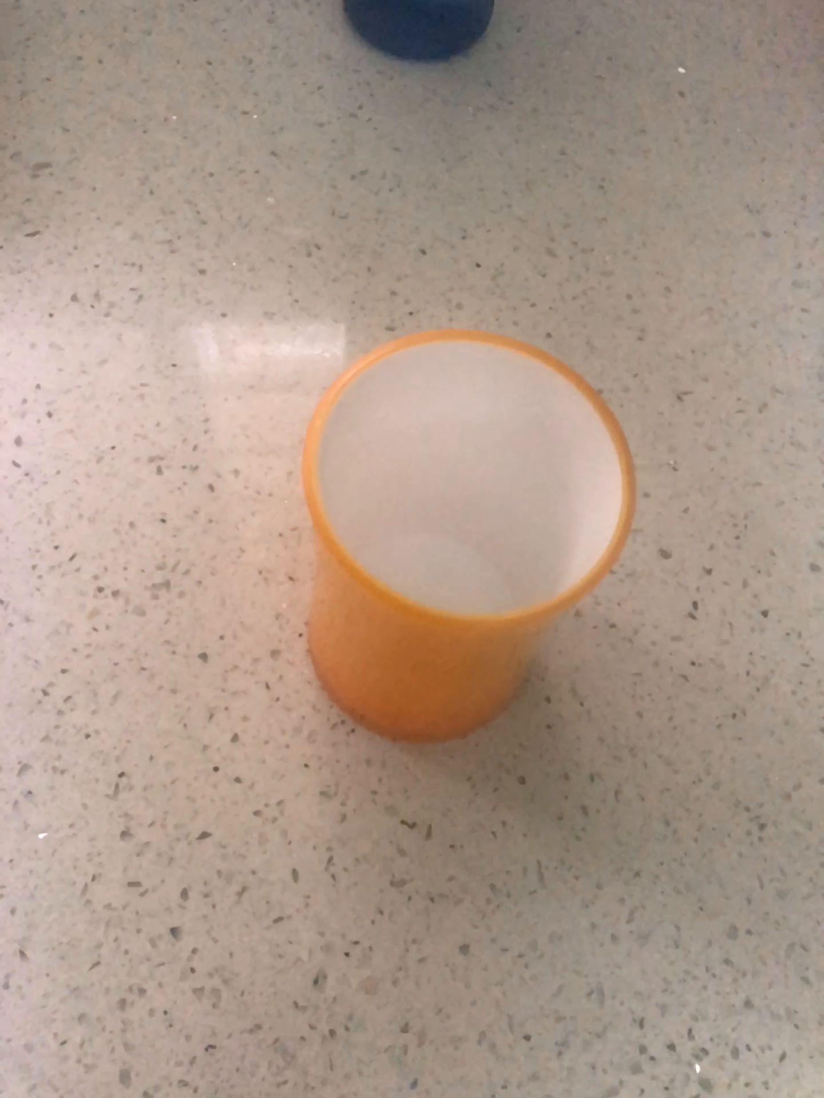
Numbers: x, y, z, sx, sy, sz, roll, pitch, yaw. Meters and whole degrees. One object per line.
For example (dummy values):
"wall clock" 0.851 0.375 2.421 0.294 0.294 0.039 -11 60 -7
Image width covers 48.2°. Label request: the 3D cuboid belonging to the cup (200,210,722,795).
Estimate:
"cup" 0.009 -0.003 0.230 0.080 0.110 0.080 2 64 -4
